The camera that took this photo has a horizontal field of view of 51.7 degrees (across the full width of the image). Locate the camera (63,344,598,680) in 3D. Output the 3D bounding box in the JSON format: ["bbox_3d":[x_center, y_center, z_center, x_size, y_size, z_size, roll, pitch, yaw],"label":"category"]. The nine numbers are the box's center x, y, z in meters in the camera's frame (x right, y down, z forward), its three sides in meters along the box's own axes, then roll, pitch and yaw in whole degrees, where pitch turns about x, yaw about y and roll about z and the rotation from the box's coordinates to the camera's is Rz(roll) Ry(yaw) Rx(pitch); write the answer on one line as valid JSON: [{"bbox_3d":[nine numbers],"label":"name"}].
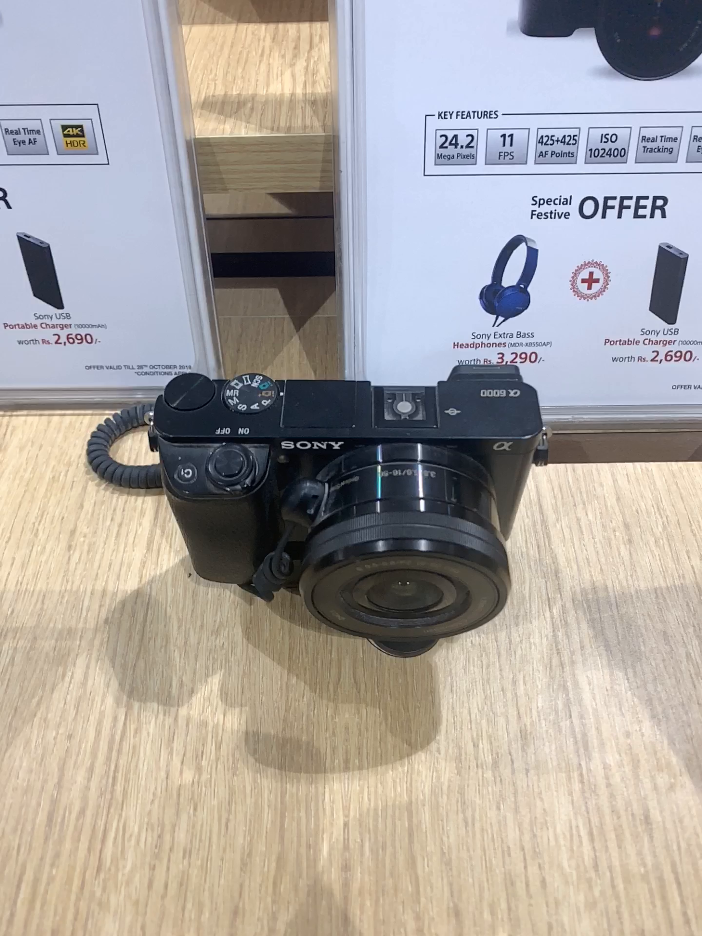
[{"bbox_3d":[-0.004,0.014,0.211,0.120,0.070,0.070,0,52,1],"label":"camera"}]
